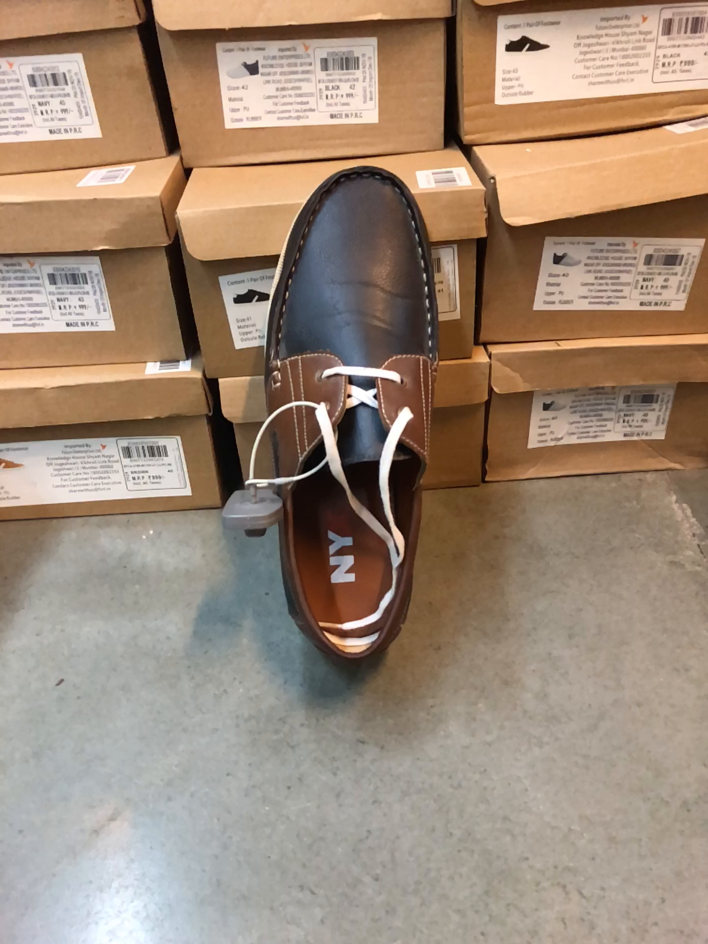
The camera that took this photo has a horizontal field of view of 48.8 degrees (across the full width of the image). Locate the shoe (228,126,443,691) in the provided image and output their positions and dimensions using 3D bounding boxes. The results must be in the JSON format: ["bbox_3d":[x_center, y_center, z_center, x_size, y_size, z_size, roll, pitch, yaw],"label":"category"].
[{"bbox_3d":[-0.006,-0.031,0.417,0.102,0.265,0.099,0,0,3],"label":"shoe"}]
